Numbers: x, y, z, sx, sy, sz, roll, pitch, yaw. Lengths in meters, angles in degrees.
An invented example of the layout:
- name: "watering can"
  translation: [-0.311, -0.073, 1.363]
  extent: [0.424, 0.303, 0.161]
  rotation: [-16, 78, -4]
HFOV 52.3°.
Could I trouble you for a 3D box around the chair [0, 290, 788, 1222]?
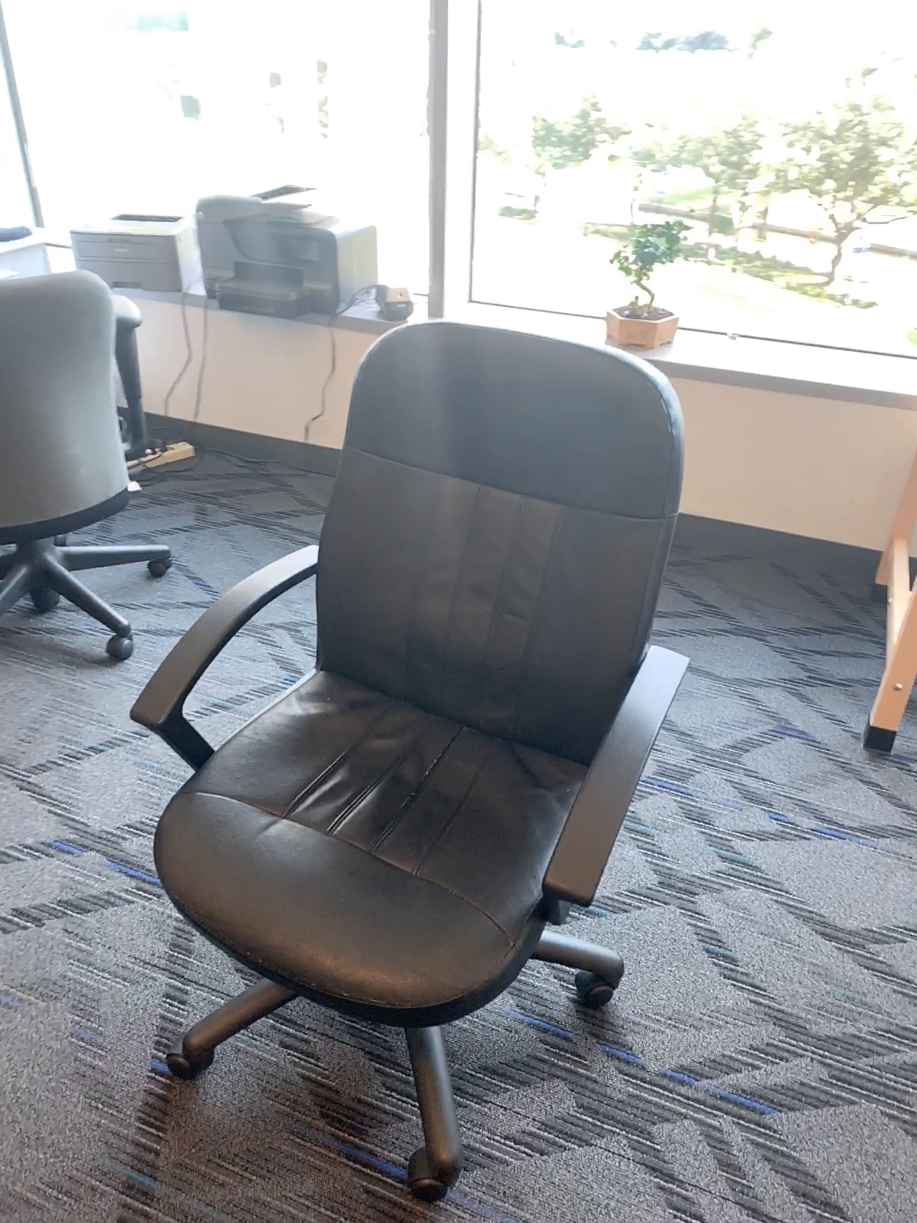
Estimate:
- name: "chair"
  translation: [-0.069, 0.148, 1.246]
  extent: [0.701, 0.892, 0.695]
  rotation: [15, 34, 21]
